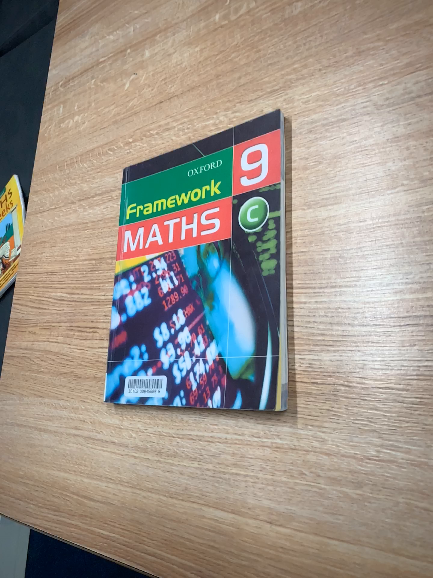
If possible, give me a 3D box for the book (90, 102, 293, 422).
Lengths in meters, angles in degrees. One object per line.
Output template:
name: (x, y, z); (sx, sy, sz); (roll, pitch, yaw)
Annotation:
book: (-0.029, -0.017, 0.385); (0.191, 0.020, 0.244); (-8, 74, 34)
